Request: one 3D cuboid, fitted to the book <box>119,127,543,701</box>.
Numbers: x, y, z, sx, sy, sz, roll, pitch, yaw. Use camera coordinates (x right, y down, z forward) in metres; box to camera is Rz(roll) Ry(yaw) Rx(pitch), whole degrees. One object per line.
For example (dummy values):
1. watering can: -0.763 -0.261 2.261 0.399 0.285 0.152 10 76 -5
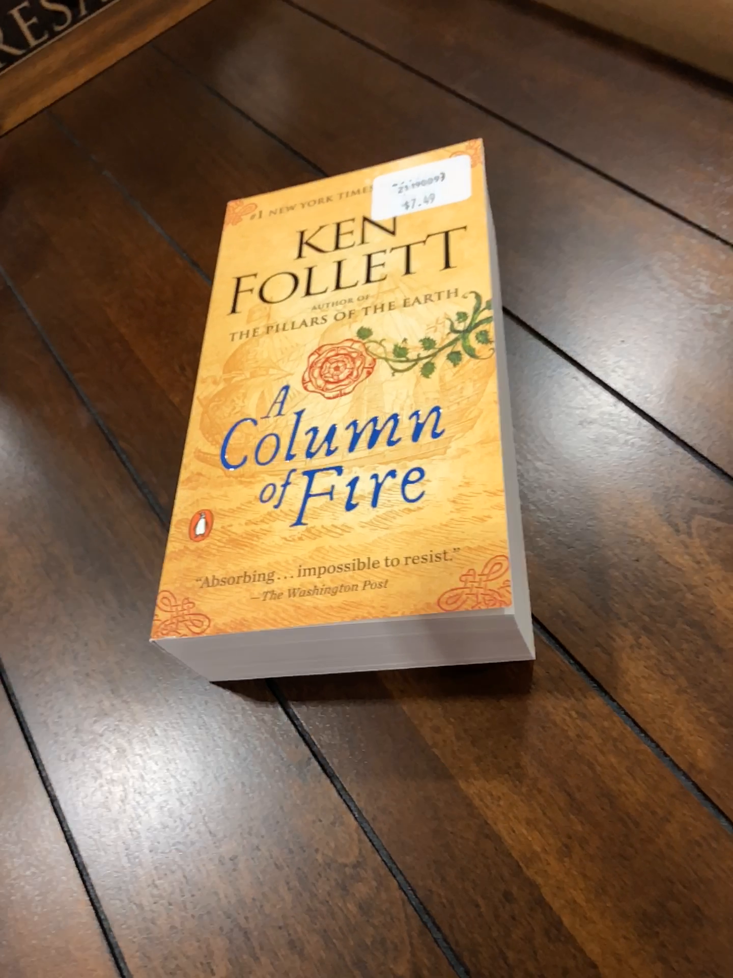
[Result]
1. book: -0.006 -0.033 0.278 0.110 0.040 0.195 -7 57 14
